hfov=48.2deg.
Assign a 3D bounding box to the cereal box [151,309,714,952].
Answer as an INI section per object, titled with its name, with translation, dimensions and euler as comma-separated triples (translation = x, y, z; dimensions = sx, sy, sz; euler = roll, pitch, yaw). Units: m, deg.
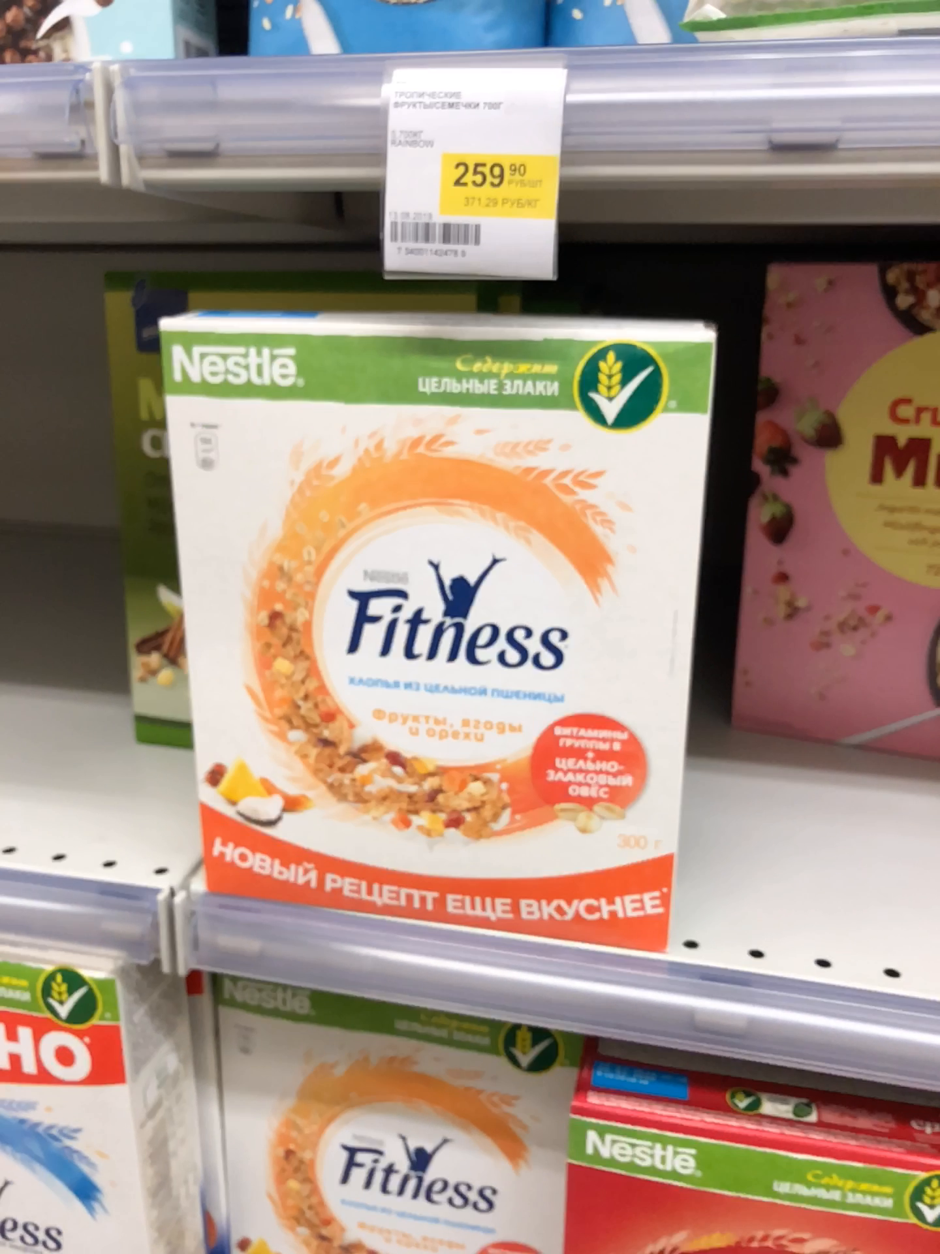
[cereal box]
translation = -0.013, 0.000, 0.404
dimensions = 0.190, 0.229, 0.050
euler = 4, 19, 11
